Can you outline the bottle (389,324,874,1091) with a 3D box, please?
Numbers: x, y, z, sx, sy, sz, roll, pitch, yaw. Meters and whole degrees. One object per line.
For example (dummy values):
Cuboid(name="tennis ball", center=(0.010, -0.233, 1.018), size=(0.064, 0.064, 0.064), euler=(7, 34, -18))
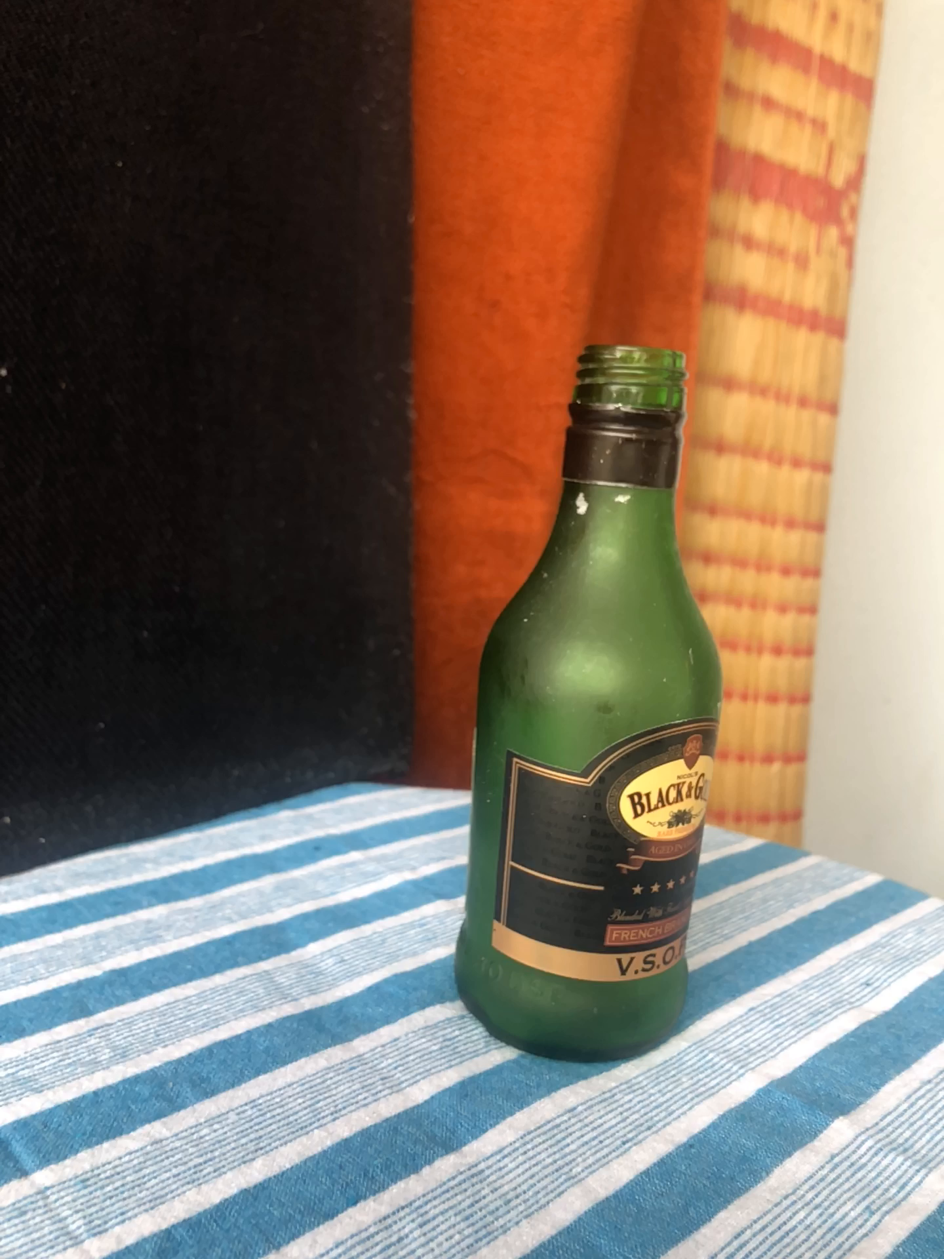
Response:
Cuboid(name="bottle", center=(0.032, 0.011, 0.231), size=(0.060, 0.140, 0.060), euler=(7, 9, -1))
